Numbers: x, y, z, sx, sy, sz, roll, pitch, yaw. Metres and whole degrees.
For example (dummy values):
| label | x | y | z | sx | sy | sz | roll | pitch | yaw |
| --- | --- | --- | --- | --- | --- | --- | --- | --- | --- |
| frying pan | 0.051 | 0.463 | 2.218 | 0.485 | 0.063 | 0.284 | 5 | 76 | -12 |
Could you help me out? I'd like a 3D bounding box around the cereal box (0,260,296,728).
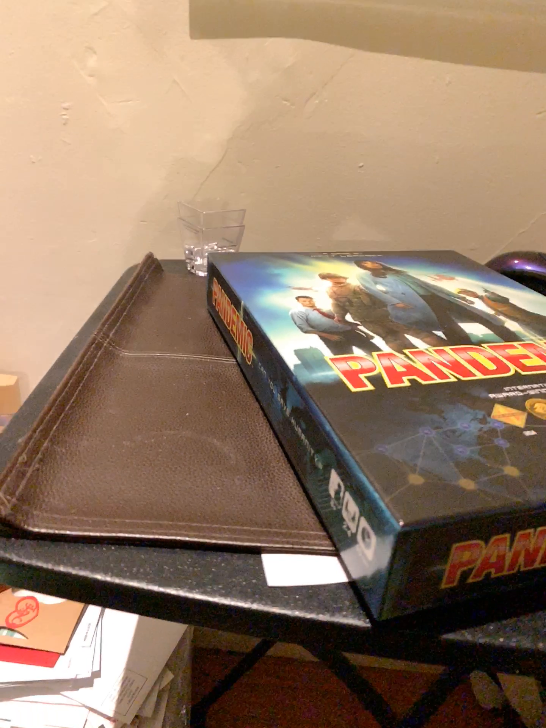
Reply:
| label | x | y | z | sx | sy | sz | roll | pitch | yaw |
| --- | --- | --- | --- | --- | --- | --- | --- | --- | --- |
| cereal box | -0.337 | 0.385 | 1.099 | 0.512 | 0.994 | 0.471 | 25 | 34 | 35 |
